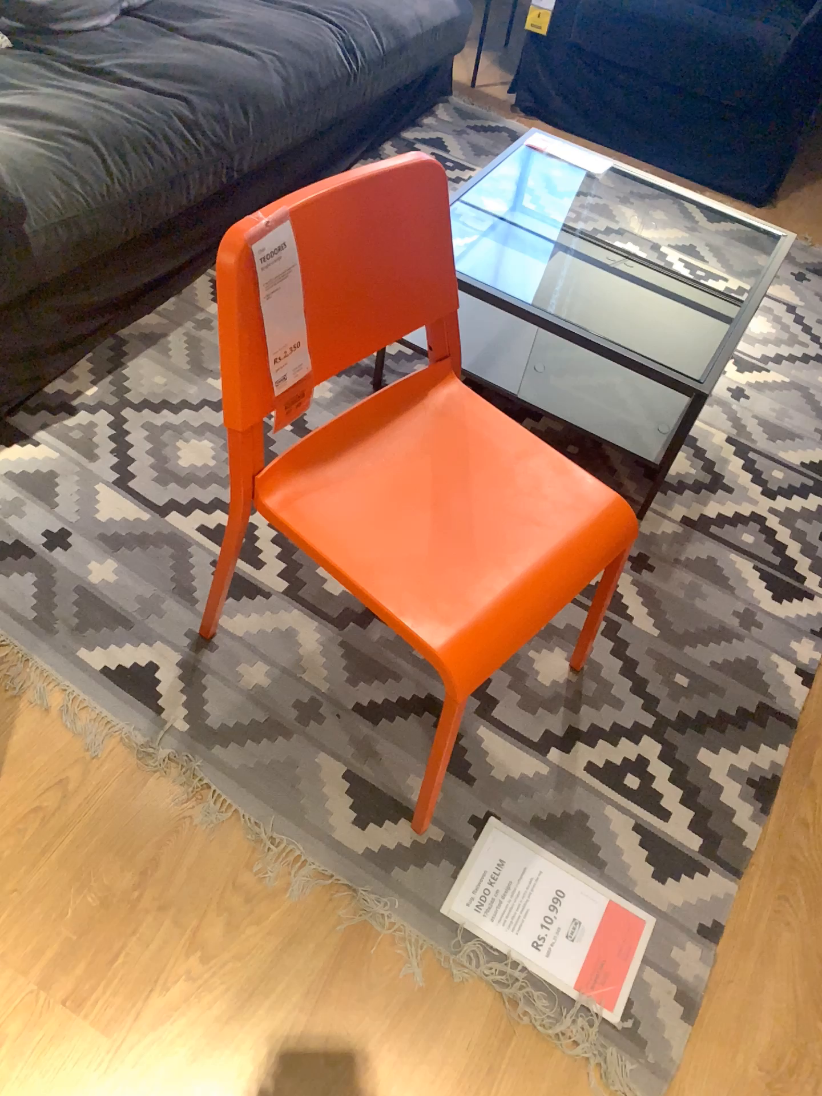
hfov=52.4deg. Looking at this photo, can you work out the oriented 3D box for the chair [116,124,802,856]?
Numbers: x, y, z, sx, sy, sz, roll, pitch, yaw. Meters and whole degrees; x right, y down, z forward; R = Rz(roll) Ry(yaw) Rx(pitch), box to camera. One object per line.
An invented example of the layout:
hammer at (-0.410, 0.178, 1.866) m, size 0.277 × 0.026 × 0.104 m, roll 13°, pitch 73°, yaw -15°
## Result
chair at (0.023, -0.063, 1.221) m, size 0.580 × 0.728 × 0.521 m, roll 39°, pitch 56°, yaw 20°
